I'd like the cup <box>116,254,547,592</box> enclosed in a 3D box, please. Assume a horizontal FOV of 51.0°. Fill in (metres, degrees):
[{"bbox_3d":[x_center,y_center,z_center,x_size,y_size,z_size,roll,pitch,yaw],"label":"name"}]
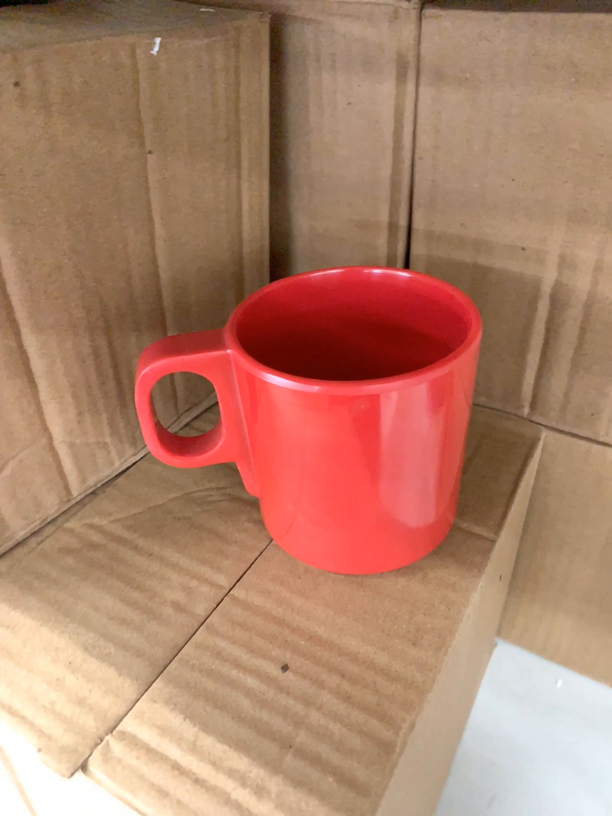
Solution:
[{"bbox_3d":[0.006,0.003,0.201,0.103,0.073,0.066,-5,37,-1],"label":"cup"}]
